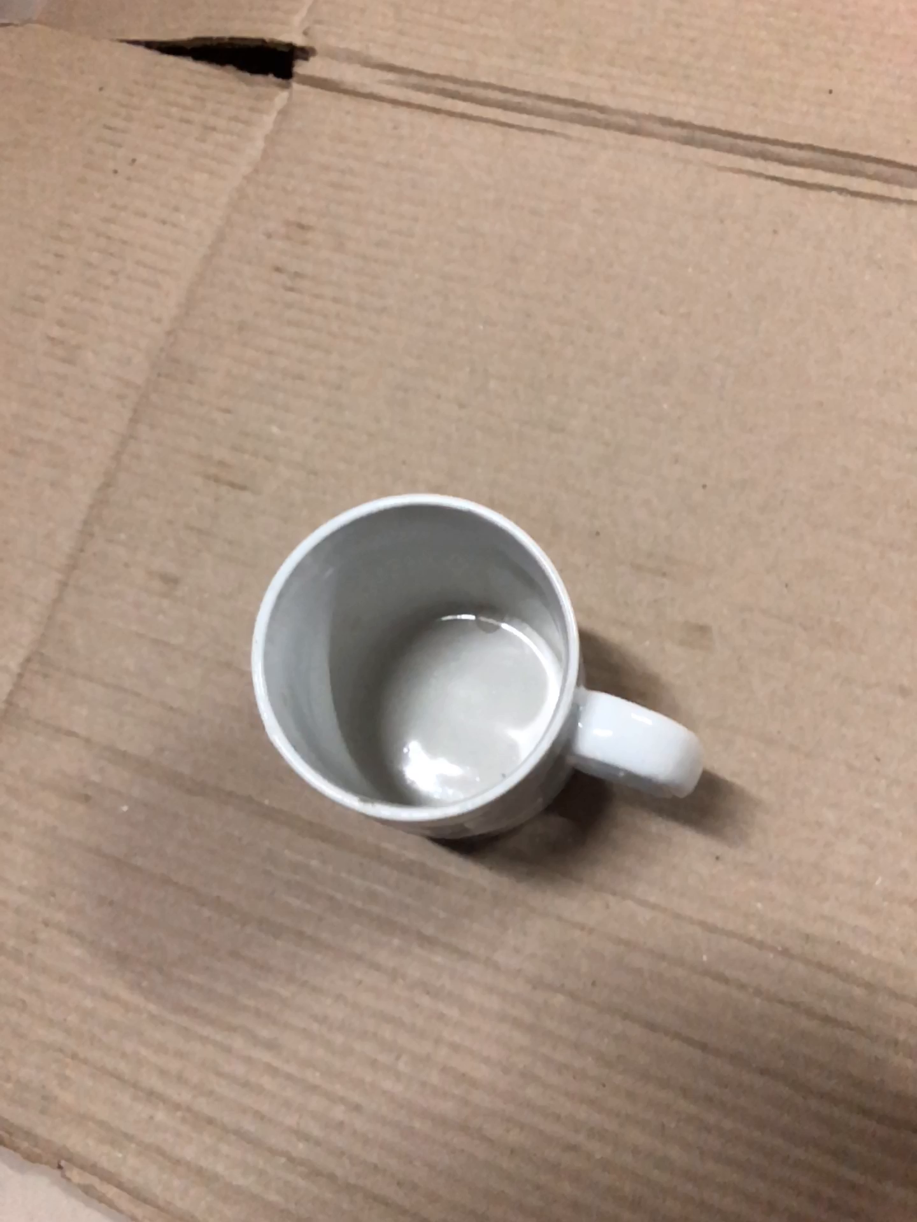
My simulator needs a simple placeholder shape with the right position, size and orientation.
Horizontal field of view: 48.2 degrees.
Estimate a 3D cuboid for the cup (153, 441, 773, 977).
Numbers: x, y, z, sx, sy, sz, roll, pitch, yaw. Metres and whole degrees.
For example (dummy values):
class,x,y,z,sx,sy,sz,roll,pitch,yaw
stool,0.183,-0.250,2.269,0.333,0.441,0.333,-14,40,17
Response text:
class,x,y,z,sx,sy,sz,roll,pitch,yaw
cup,0.007,0.031,0.265,0.110,0.100,0.080,21,74,15
